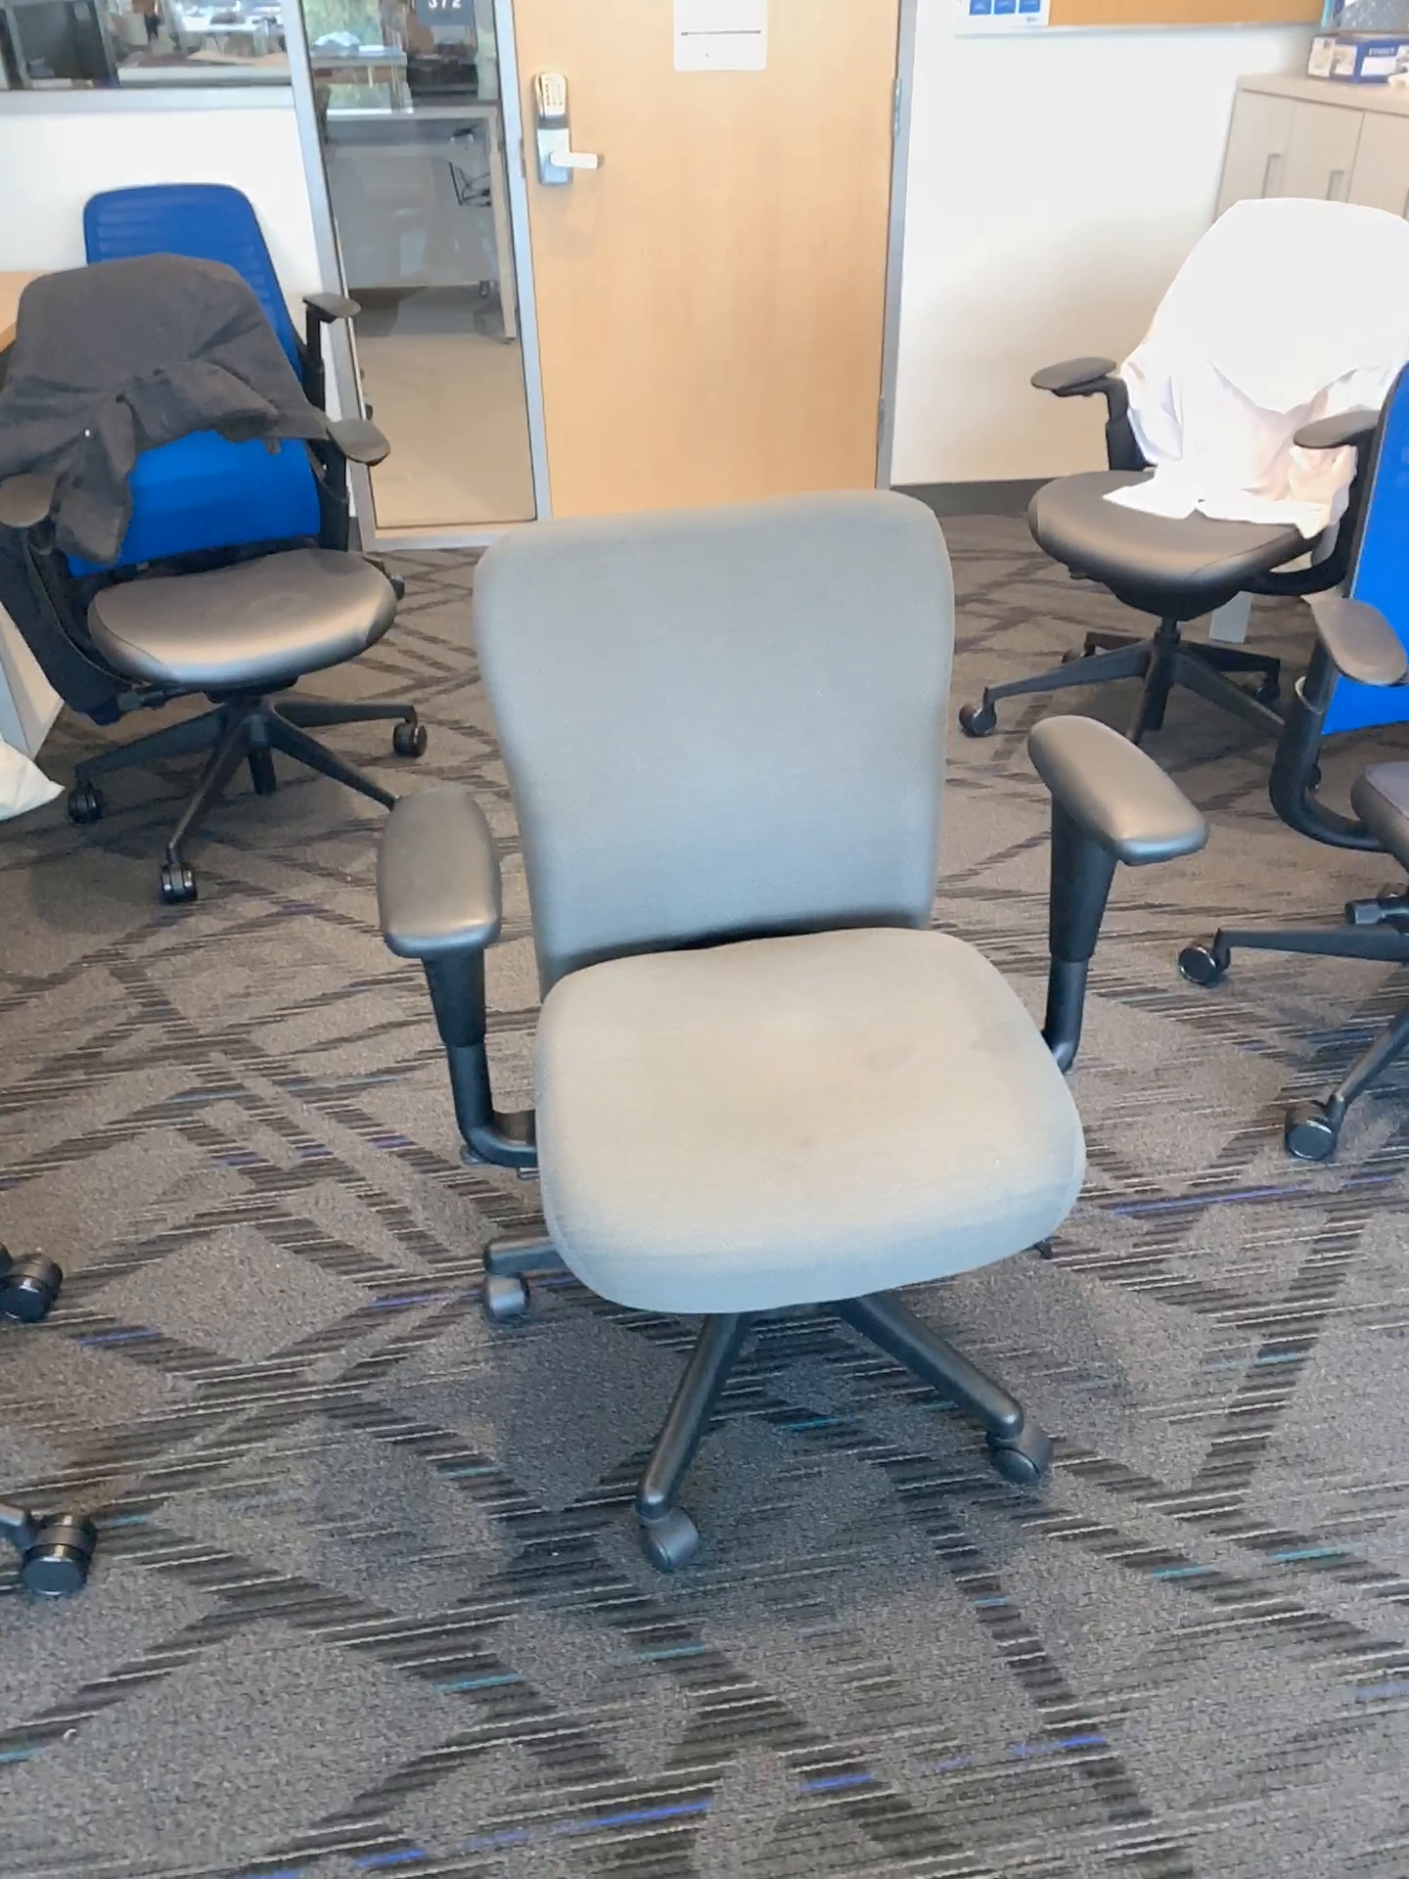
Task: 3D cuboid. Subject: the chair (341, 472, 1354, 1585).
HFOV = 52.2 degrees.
[{"bbox_3d":[0.071,0.056,1.434,0.670,0.813,0.666,-5,34,-5],"label":"chair"}]
